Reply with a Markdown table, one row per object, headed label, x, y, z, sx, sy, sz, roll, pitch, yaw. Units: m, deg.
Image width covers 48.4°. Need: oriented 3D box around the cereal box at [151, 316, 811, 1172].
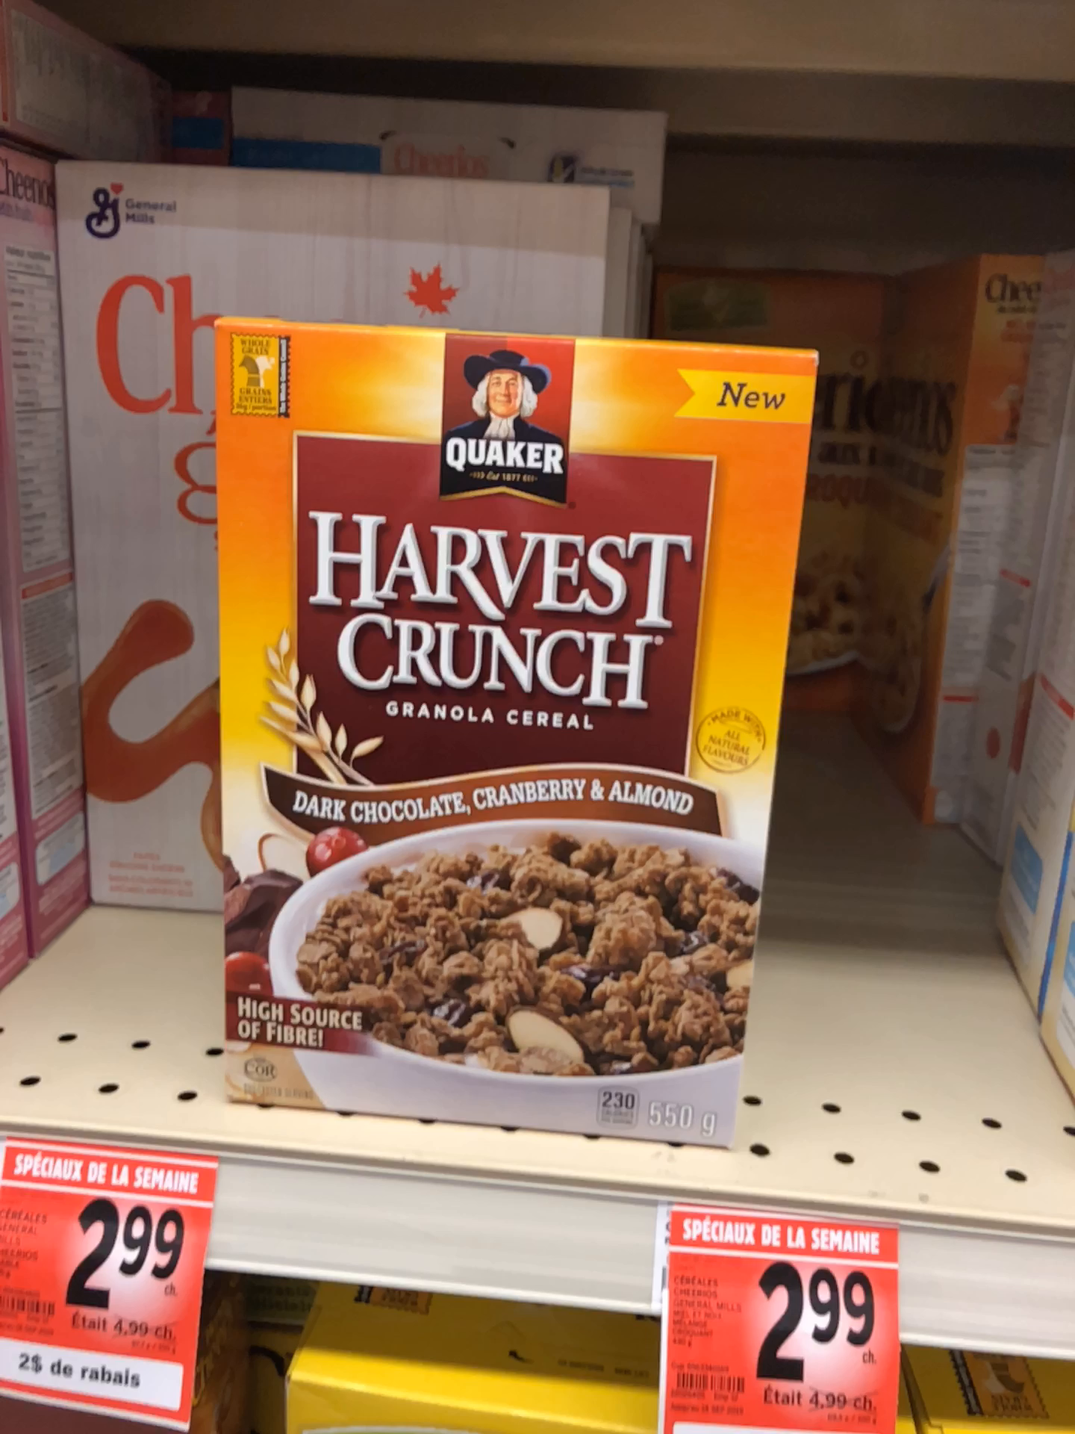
| label | x | y | z | sx | sy | sz | roll | pitch | yaw |
| --- | --- | --- | --- | --- | --- | --- | --- | --- | --- |
| cereal box | -0.020 | 0.009 | 0.366 | 0.170 | 0.239 | 0.060 | 4 | 15 | 4 |
